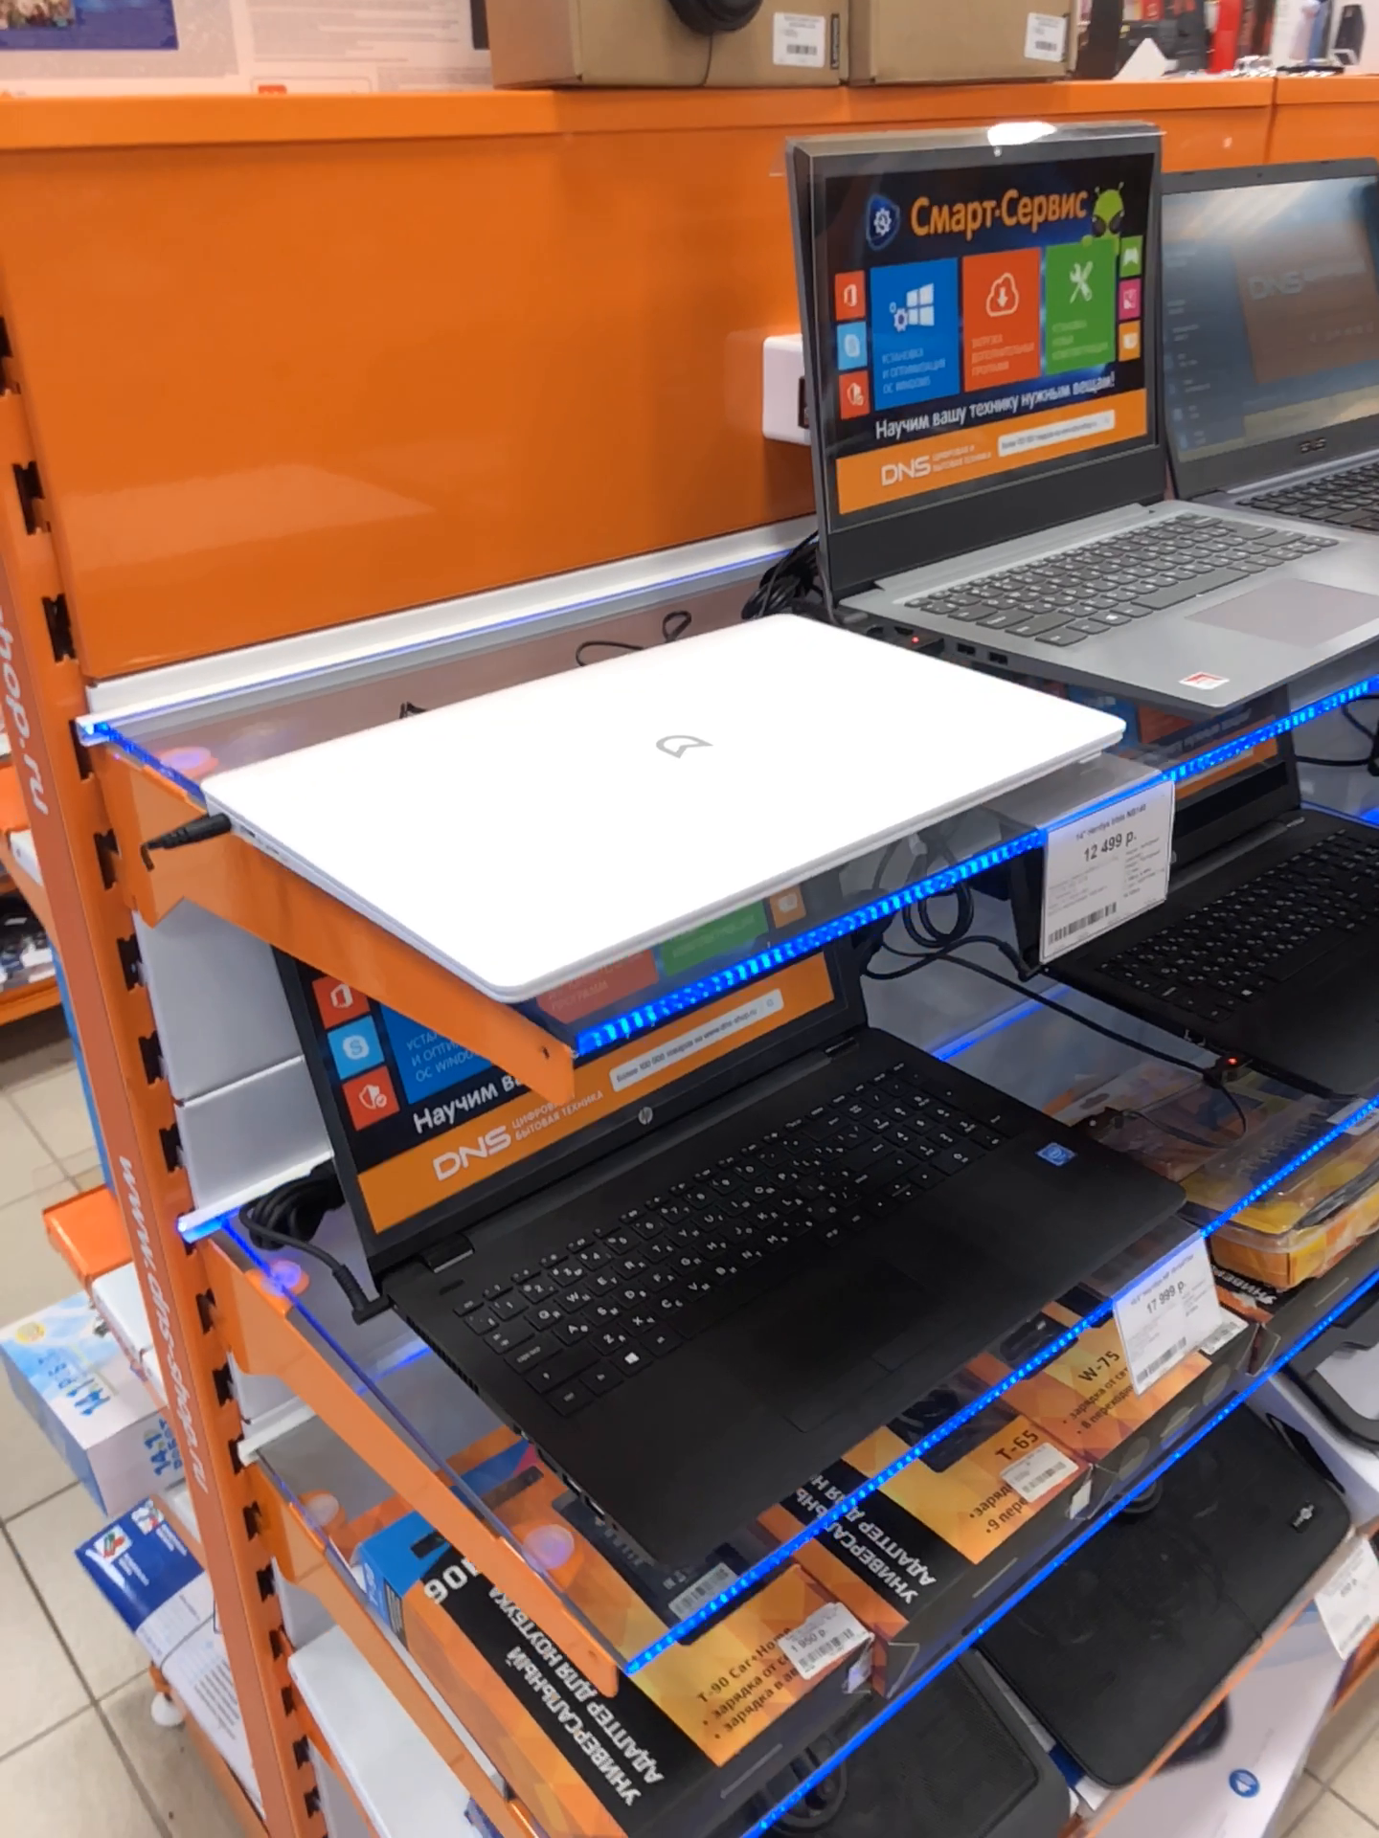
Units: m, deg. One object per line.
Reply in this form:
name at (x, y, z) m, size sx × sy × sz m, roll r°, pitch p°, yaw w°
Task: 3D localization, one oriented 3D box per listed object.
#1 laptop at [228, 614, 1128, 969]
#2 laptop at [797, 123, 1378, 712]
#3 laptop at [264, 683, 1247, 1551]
laptop at (0.001, -0.072, 0.629) m, size 0.313 × 0.002 × 0.212 m, roll -23°, pitch 35°, yaw -35°
laptop at (0.272, -0.297, 0.815) m, size 0.345 × 0.224 × 0.279 m, roll -24°, pitch 35°, yaw -36°
laptop at (0.031, 0.062, 0.797) m, size 0.364 × 0.228 × 0.307 m, roll -22°, pitch 34°, yaw -32°
